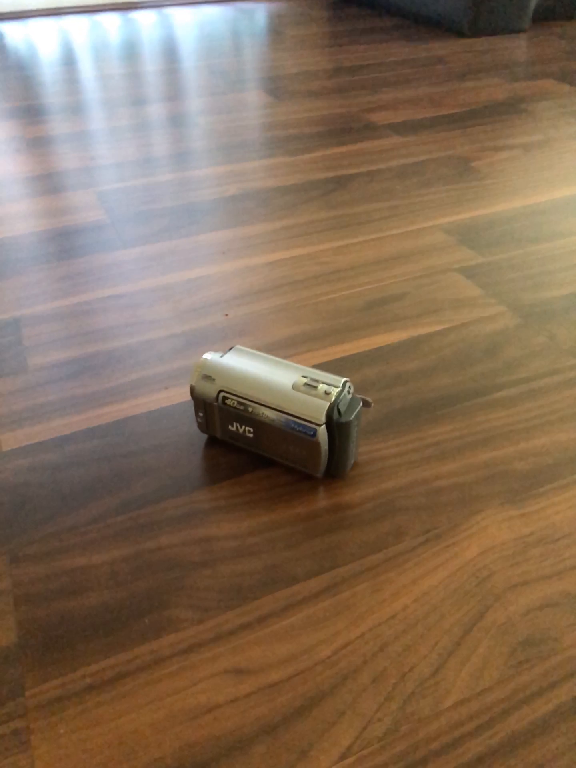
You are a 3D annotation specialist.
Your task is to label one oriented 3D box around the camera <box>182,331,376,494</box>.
[{"bbox_3d":[-0.006,0.017,0.457,0.120,0.060,0.060,19,42,24],"label":"camera"}]
